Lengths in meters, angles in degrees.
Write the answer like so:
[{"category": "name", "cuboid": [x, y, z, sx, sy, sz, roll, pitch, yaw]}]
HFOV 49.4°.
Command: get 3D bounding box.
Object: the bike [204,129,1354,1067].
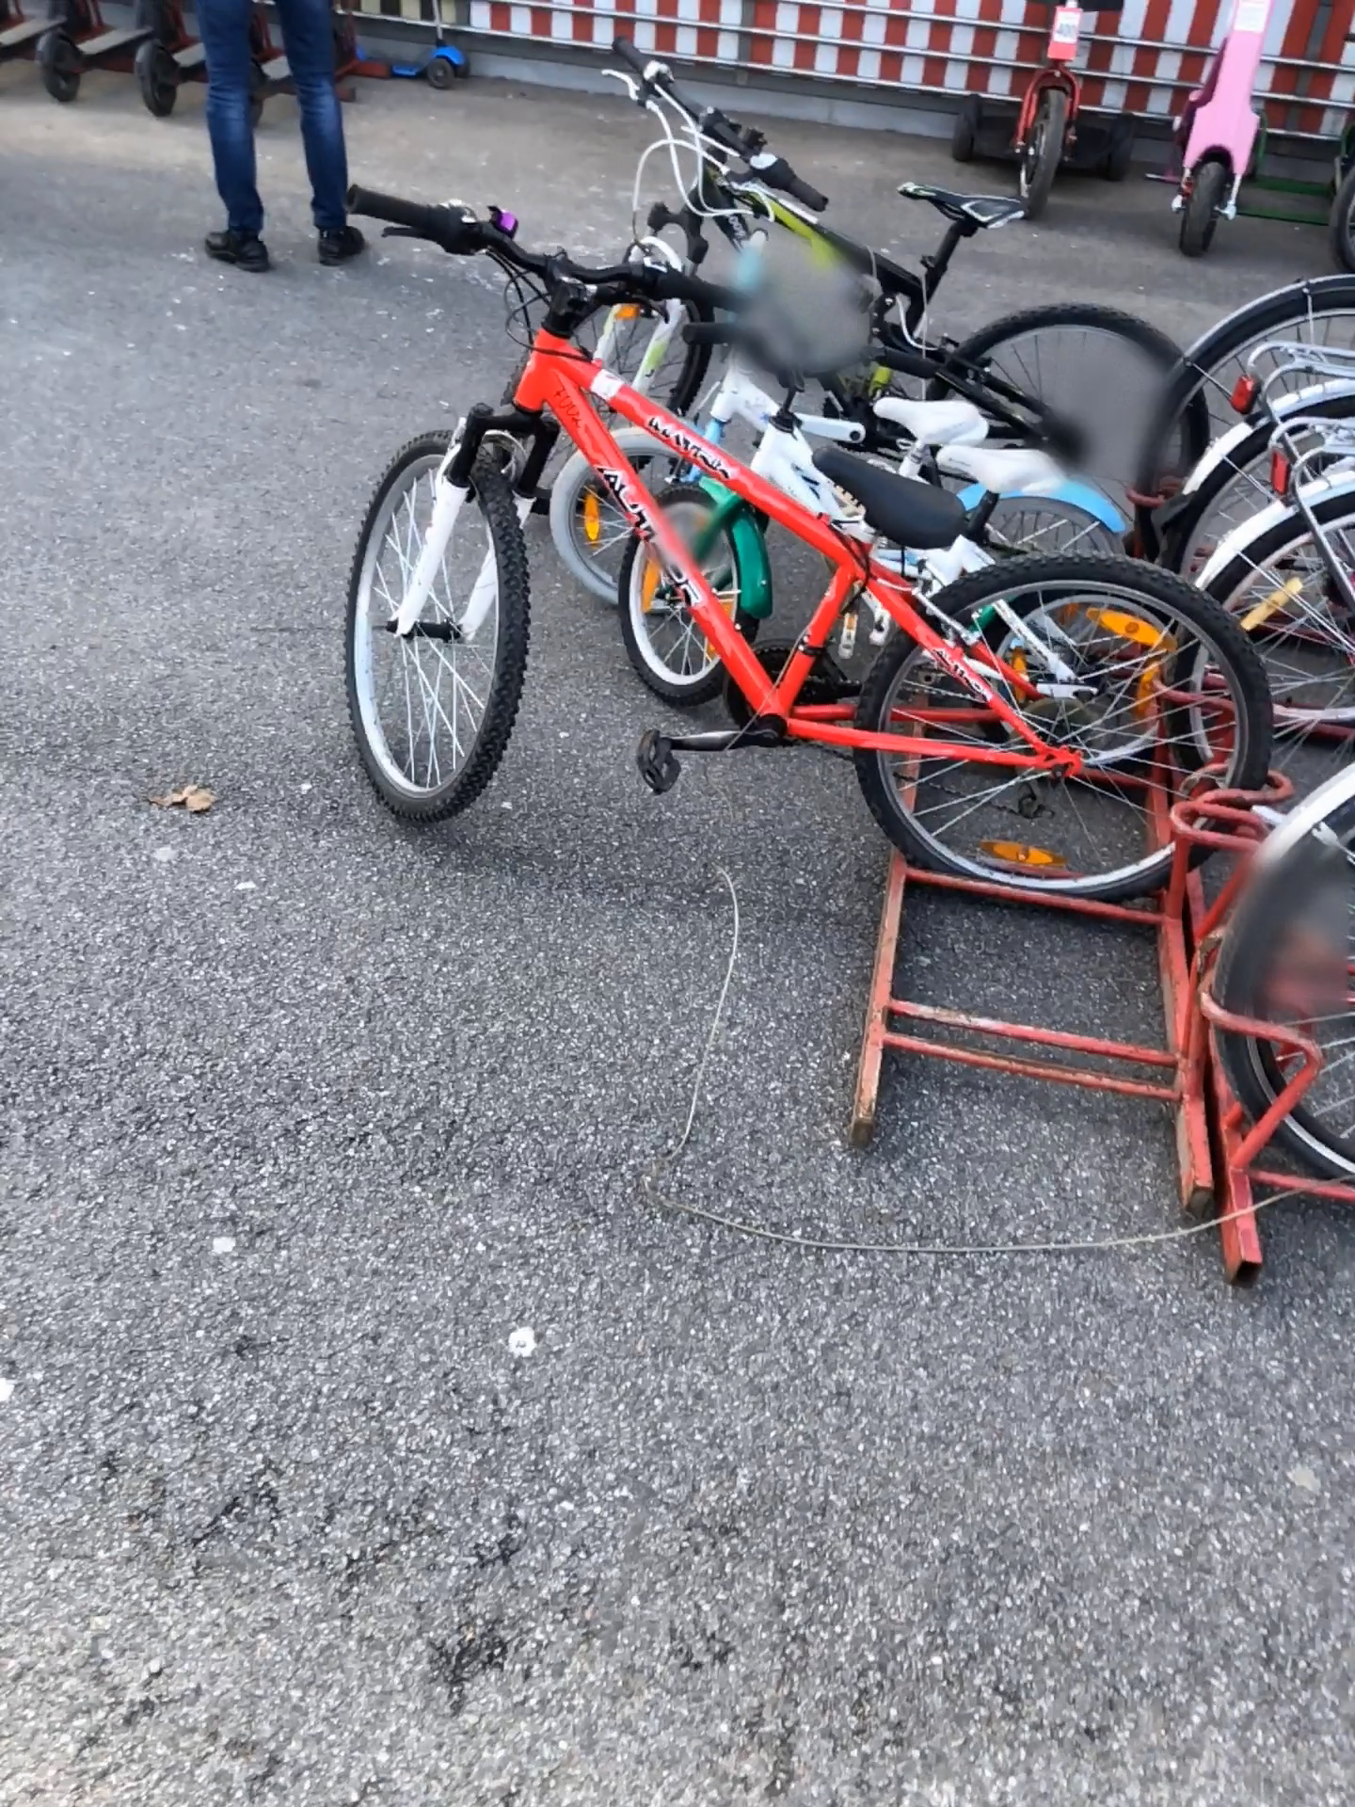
[{"category": "bike", "cuboid": [0.143, -0.471, 2.116, 1.445, 0.908, 0.554, 15, 41, 14]}]
